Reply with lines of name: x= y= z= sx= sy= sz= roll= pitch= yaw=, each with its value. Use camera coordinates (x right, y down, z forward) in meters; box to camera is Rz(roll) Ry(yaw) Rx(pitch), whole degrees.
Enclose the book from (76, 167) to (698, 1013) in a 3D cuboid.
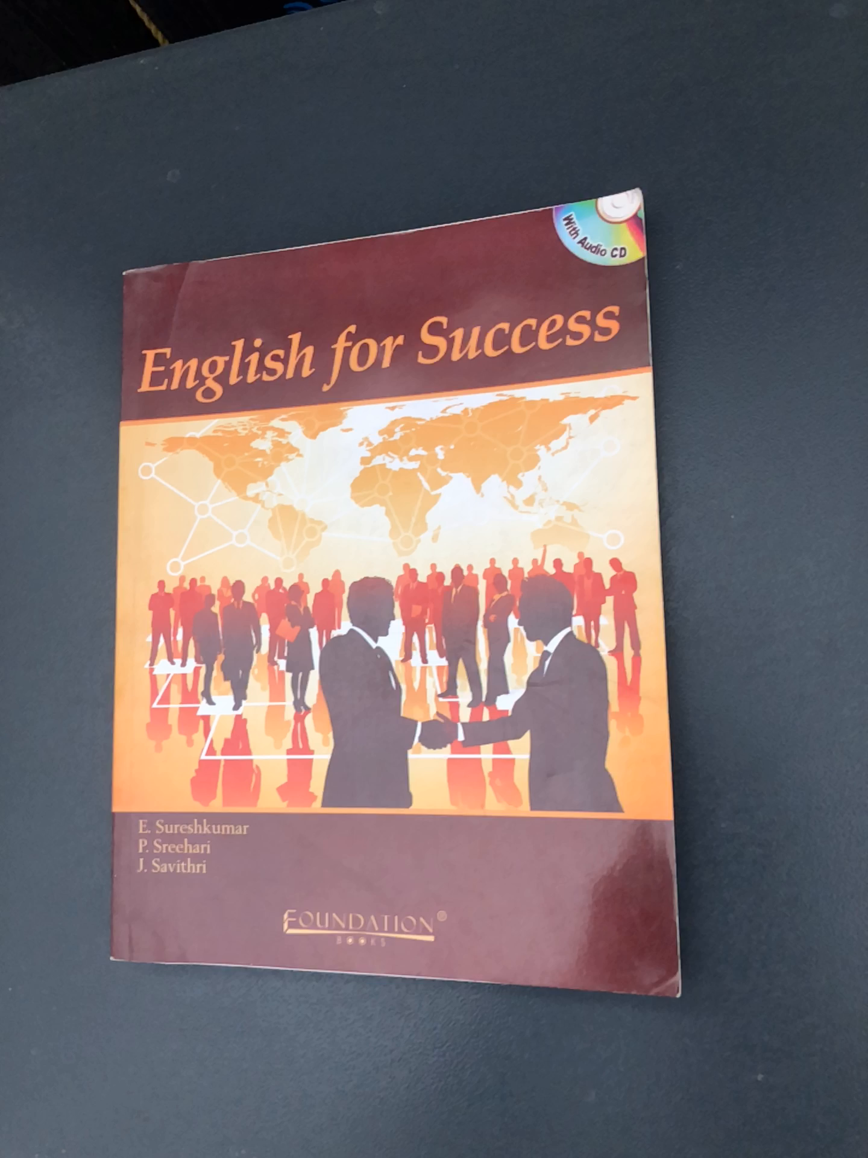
book: x=-0.021 y=0.003 z=0.311 sx=0.190 sy=0.030 sz=0.240 roll=-3 pitch=82 yaw=15
